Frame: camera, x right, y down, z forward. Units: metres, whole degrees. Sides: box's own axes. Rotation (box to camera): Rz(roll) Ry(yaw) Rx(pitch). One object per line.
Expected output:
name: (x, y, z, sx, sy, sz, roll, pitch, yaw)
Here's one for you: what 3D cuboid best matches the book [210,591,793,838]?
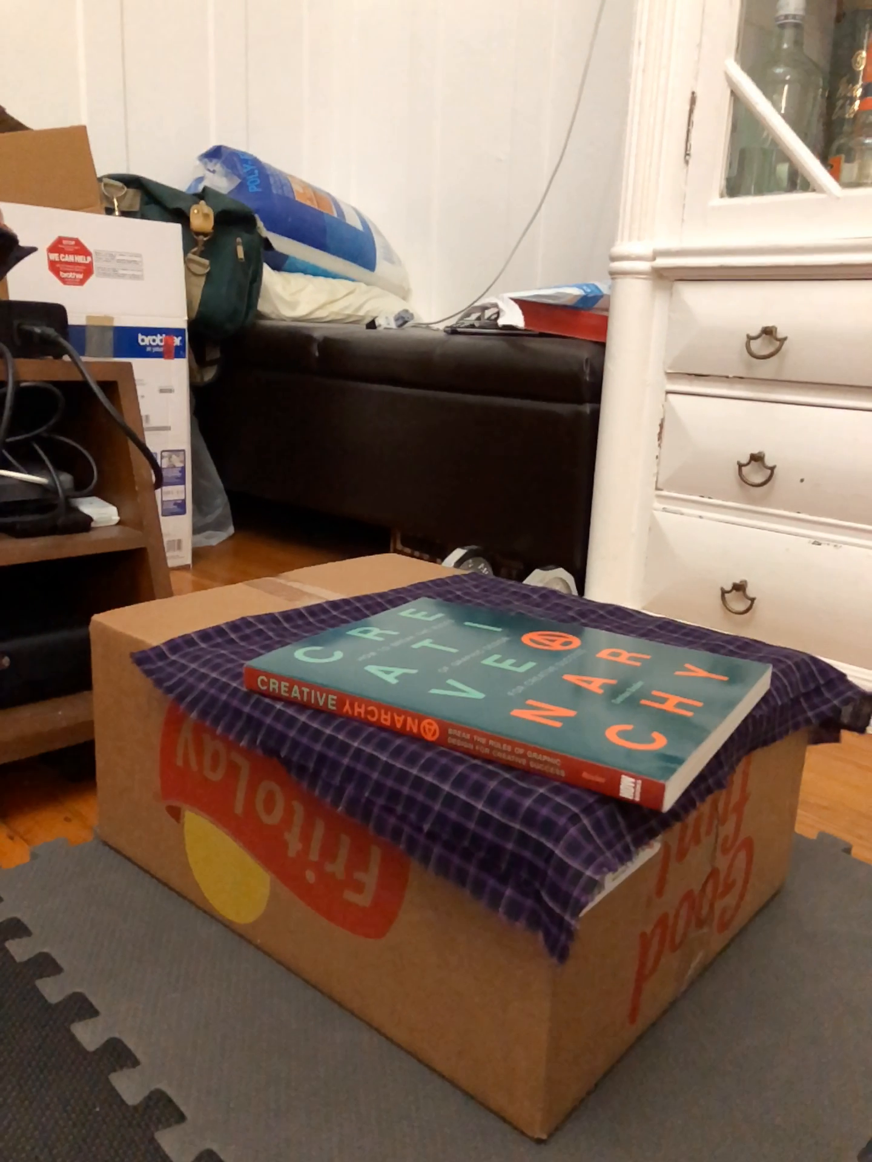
book: (0.047, 0.063, 0.606, 0.300, 0.020, 0.221, 11, 17, 29)
